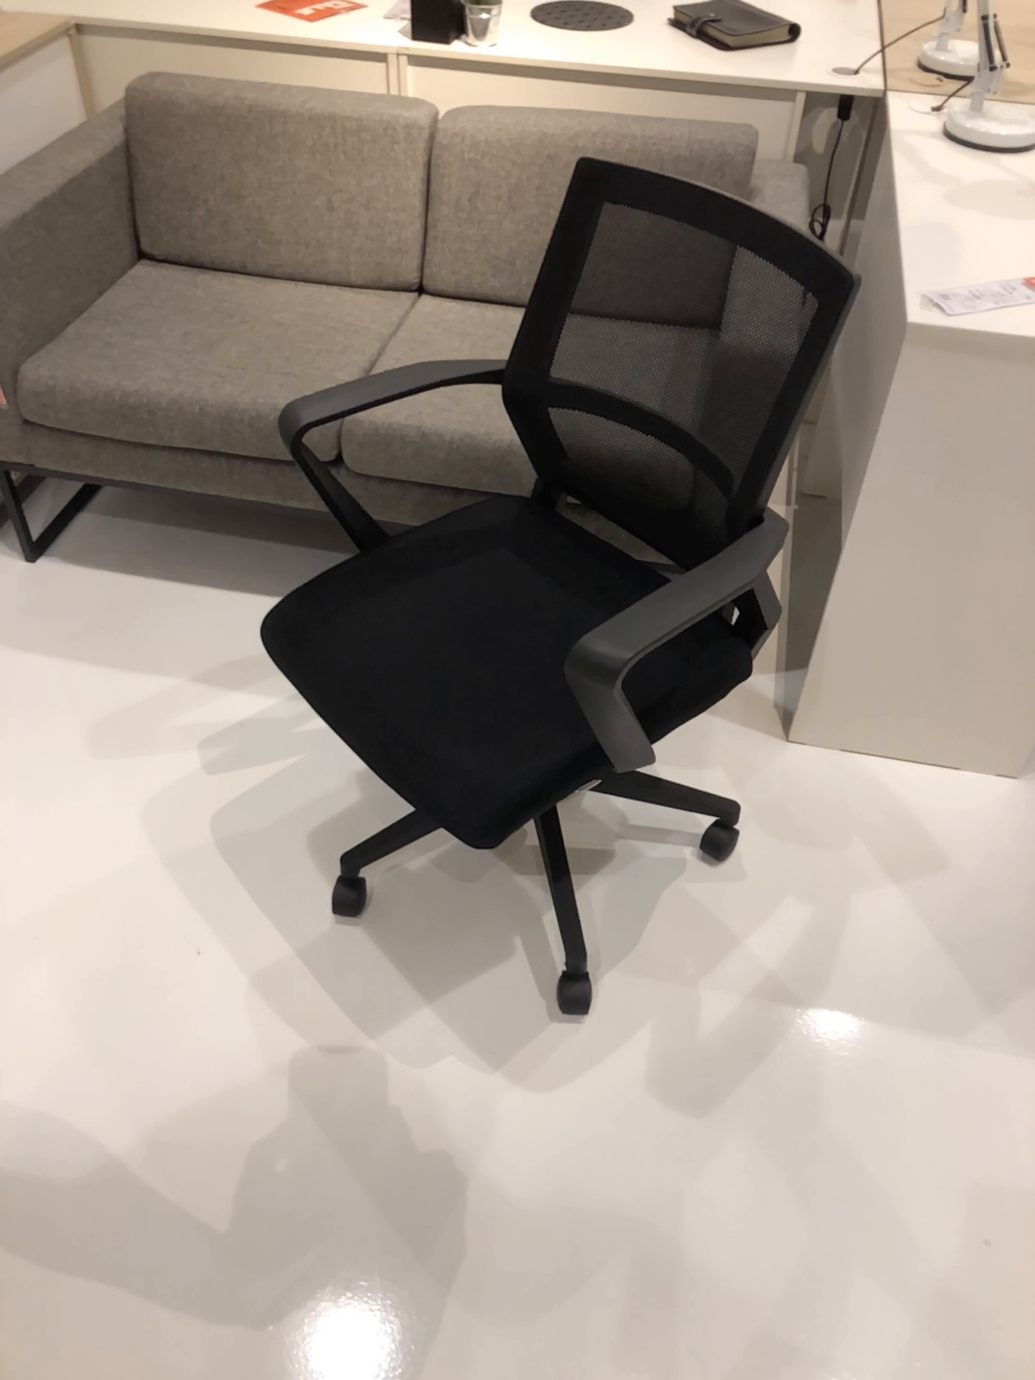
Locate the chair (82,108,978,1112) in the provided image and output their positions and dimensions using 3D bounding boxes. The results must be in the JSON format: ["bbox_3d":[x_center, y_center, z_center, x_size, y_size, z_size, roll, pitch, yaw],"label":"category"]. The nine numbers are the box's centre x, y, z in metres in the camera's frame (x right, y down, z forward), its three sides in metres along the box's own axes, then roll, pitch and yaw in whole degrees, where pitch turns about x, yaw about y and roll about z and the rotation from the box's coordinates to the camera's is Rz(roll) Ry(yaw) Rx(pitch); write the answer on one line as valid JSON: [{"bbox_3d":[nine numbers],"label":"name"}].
[{"bbox_3d":[-0.011,-0.112,1.493,0.632,0.933,0.683,-30,52,-29],"label":"chair"}]
